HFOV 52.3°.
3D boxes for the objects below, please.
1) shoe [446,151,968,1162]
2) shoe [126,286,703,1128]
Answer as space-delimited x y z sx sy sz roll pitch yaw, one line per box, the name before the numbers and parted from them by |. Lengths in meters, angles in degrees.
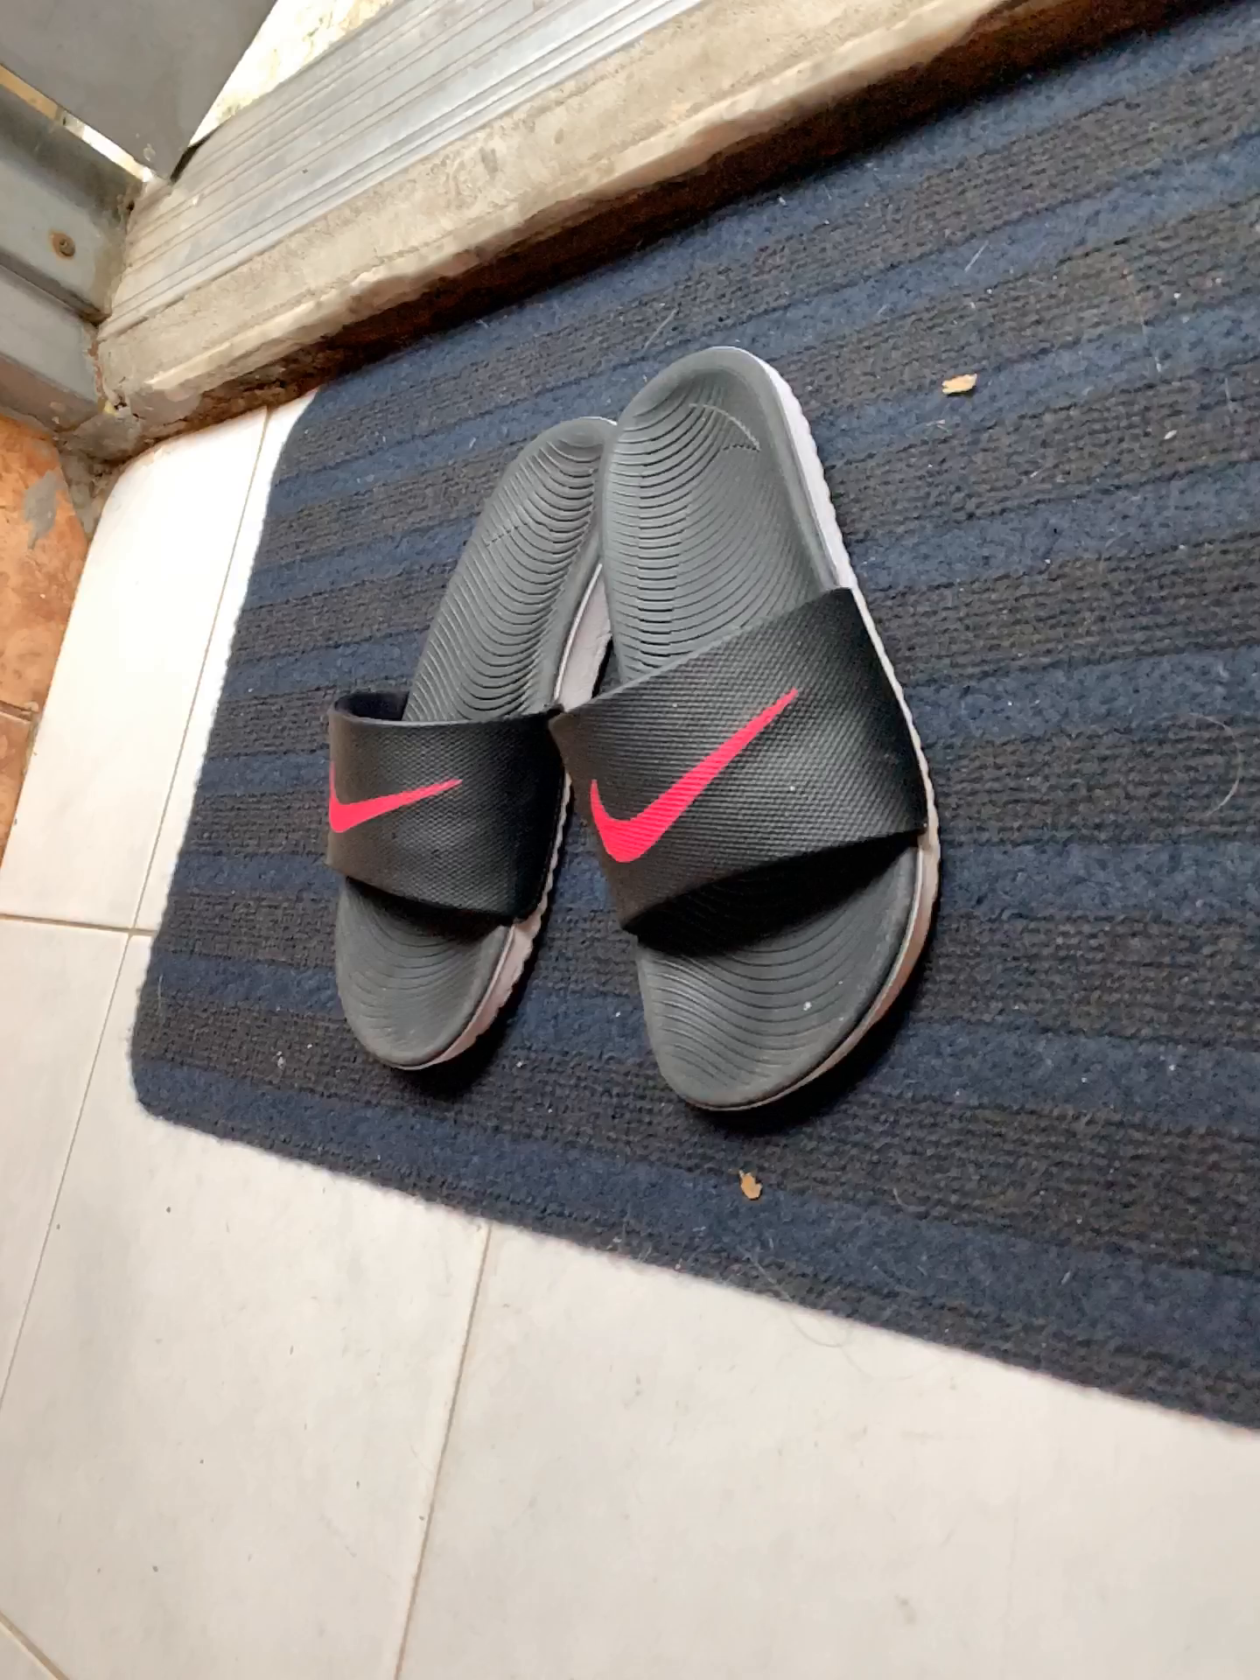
shoe | 0.015 -0.048 0.358 0.099 0.078 0.251 -19 62 36
shoe | -0.072 -0.044 0.435 0.099 0.078 0.251 12 82 44
